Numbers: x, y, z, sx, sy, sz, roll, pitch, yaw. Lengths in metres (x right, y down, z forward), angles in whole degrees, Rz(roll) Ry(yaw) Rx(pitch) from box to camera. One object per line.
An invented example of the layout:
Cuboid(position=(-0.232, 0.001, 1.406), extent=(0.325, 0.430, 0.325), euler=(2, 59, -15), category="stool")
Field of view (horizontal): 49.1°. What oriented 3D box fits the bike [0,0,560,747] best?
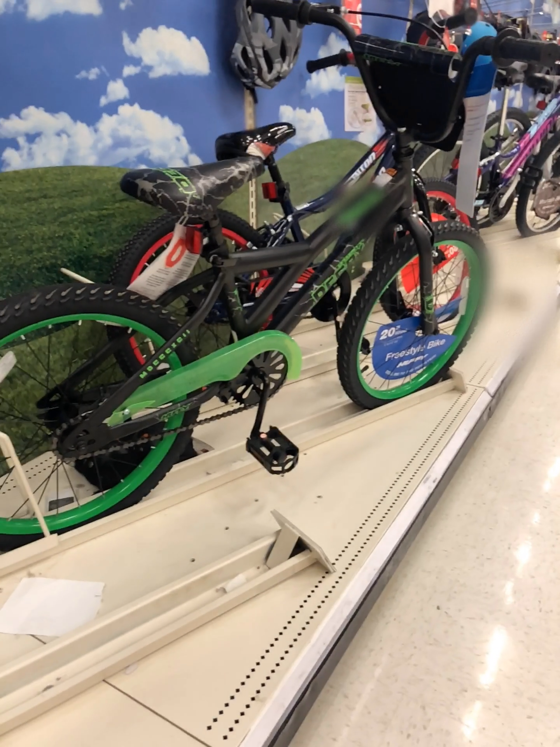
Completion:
Cuboid(position=(-0.012, -0.239, 1.172), extent=(1.366, 0.879, 0.628), euler=(-19, 30, -34), category="bike")
